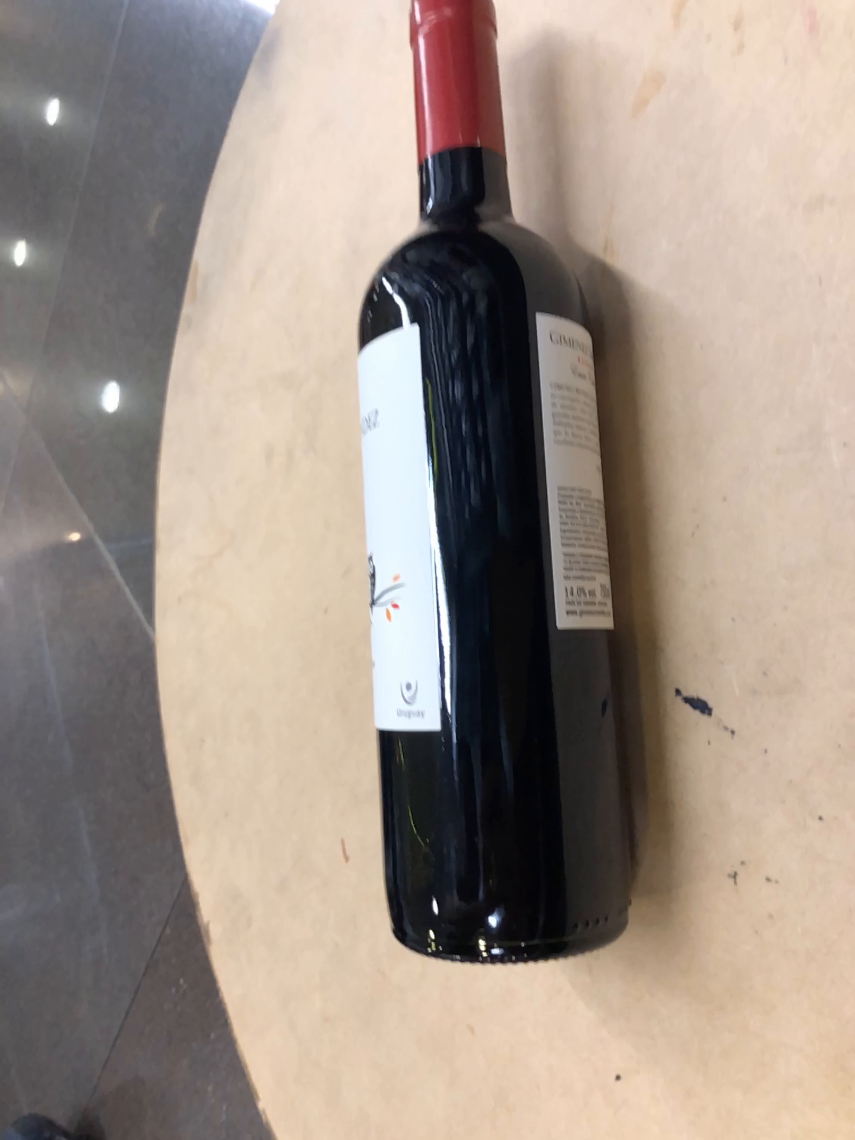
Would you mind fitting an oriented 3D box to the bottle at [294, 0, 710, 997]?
[{"bbox_3d":[0.016,-0.052,0.280,0.080,0.060,0.310,-11,81,48],"label":"bottle"}]
